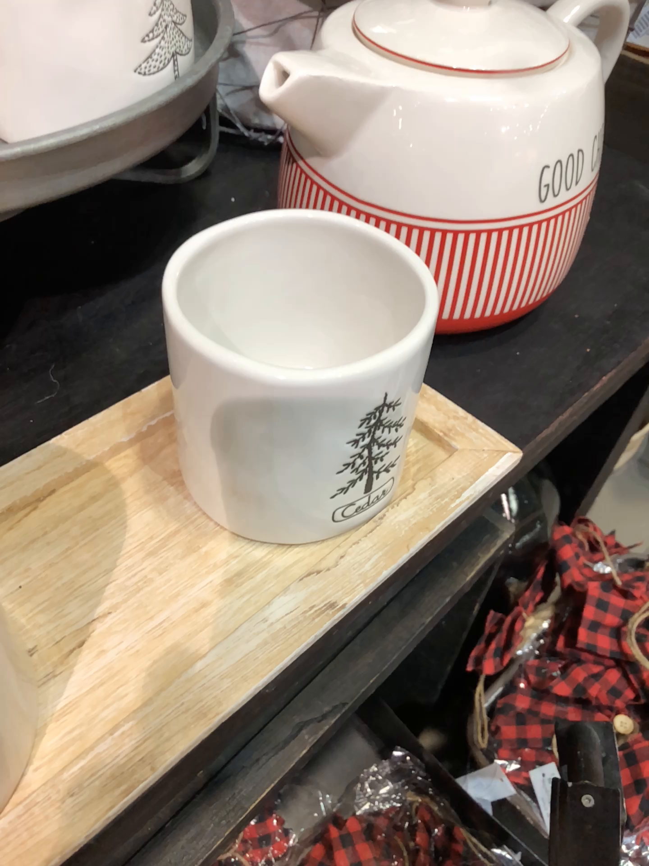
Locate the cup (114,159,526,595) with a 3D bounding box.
[{"bbox_3d":[-0.005,-0.022,0.262,0.097,0.100,0.087,-25,55,-24],"label":"cup"}]
